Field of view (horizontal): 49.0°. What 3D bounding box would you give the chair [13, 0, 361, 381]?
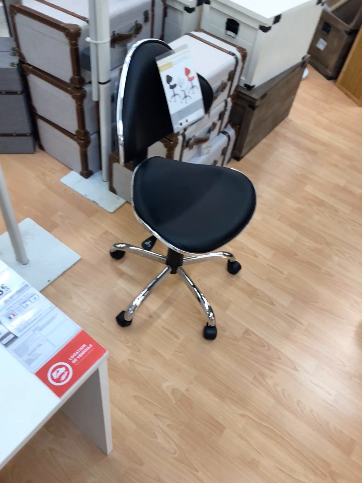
[{"bbox_3d":[0.009,-0.129,1.266,0.610,0.855,0.604,29,52,14],"label":"chair"}]
